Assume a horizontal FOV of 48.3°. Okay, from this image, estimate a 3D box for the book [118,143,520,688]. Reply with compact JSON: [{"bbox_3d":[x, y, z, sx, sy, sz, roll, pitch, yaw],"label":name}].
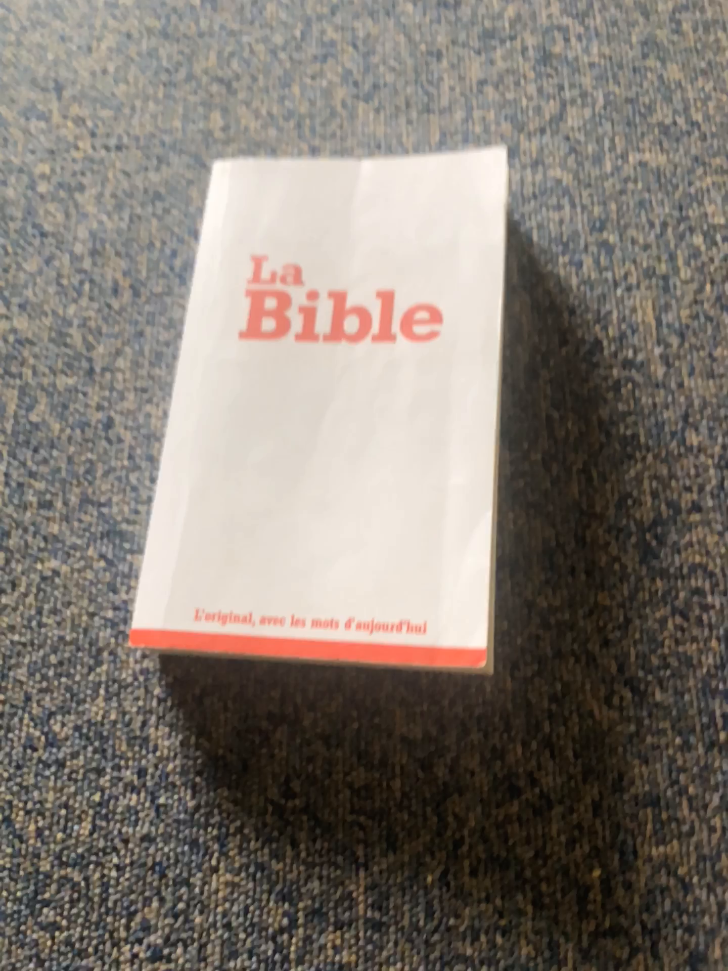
[{"bbox_3d":[-0.009,-0.033,0.323,0.133,0.042,0.211,2,72,7],"label":"book"}]
